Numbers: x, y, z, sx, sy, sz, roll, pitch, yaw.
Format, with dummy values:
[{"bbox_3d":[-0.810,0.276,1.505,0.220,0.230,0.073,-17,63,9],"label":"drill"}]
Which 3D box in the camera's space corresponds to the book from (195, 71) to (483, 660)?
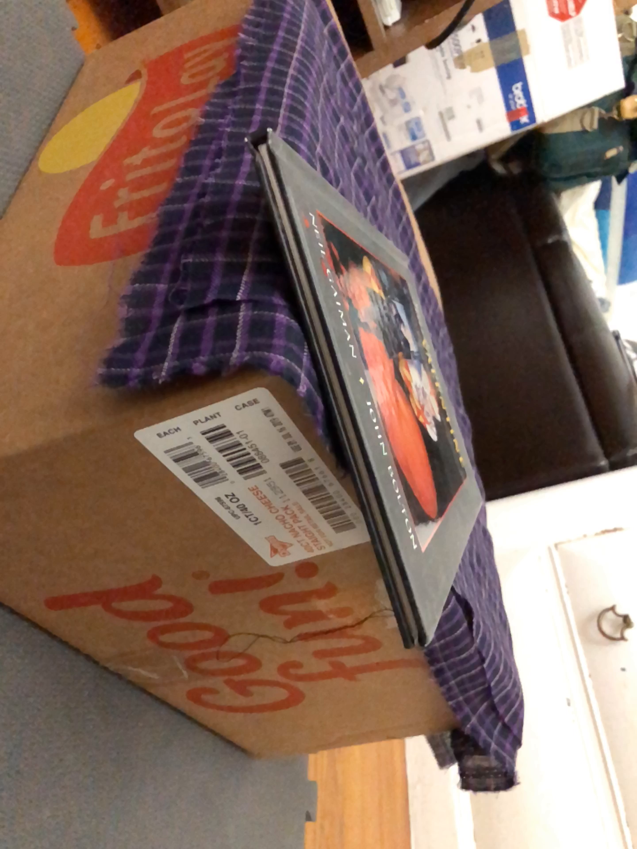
[{"bbox_3d":[0.037,-0.029,0.348,0.281,0.020,0.180,-17,89,-73],"label":"book"}]
